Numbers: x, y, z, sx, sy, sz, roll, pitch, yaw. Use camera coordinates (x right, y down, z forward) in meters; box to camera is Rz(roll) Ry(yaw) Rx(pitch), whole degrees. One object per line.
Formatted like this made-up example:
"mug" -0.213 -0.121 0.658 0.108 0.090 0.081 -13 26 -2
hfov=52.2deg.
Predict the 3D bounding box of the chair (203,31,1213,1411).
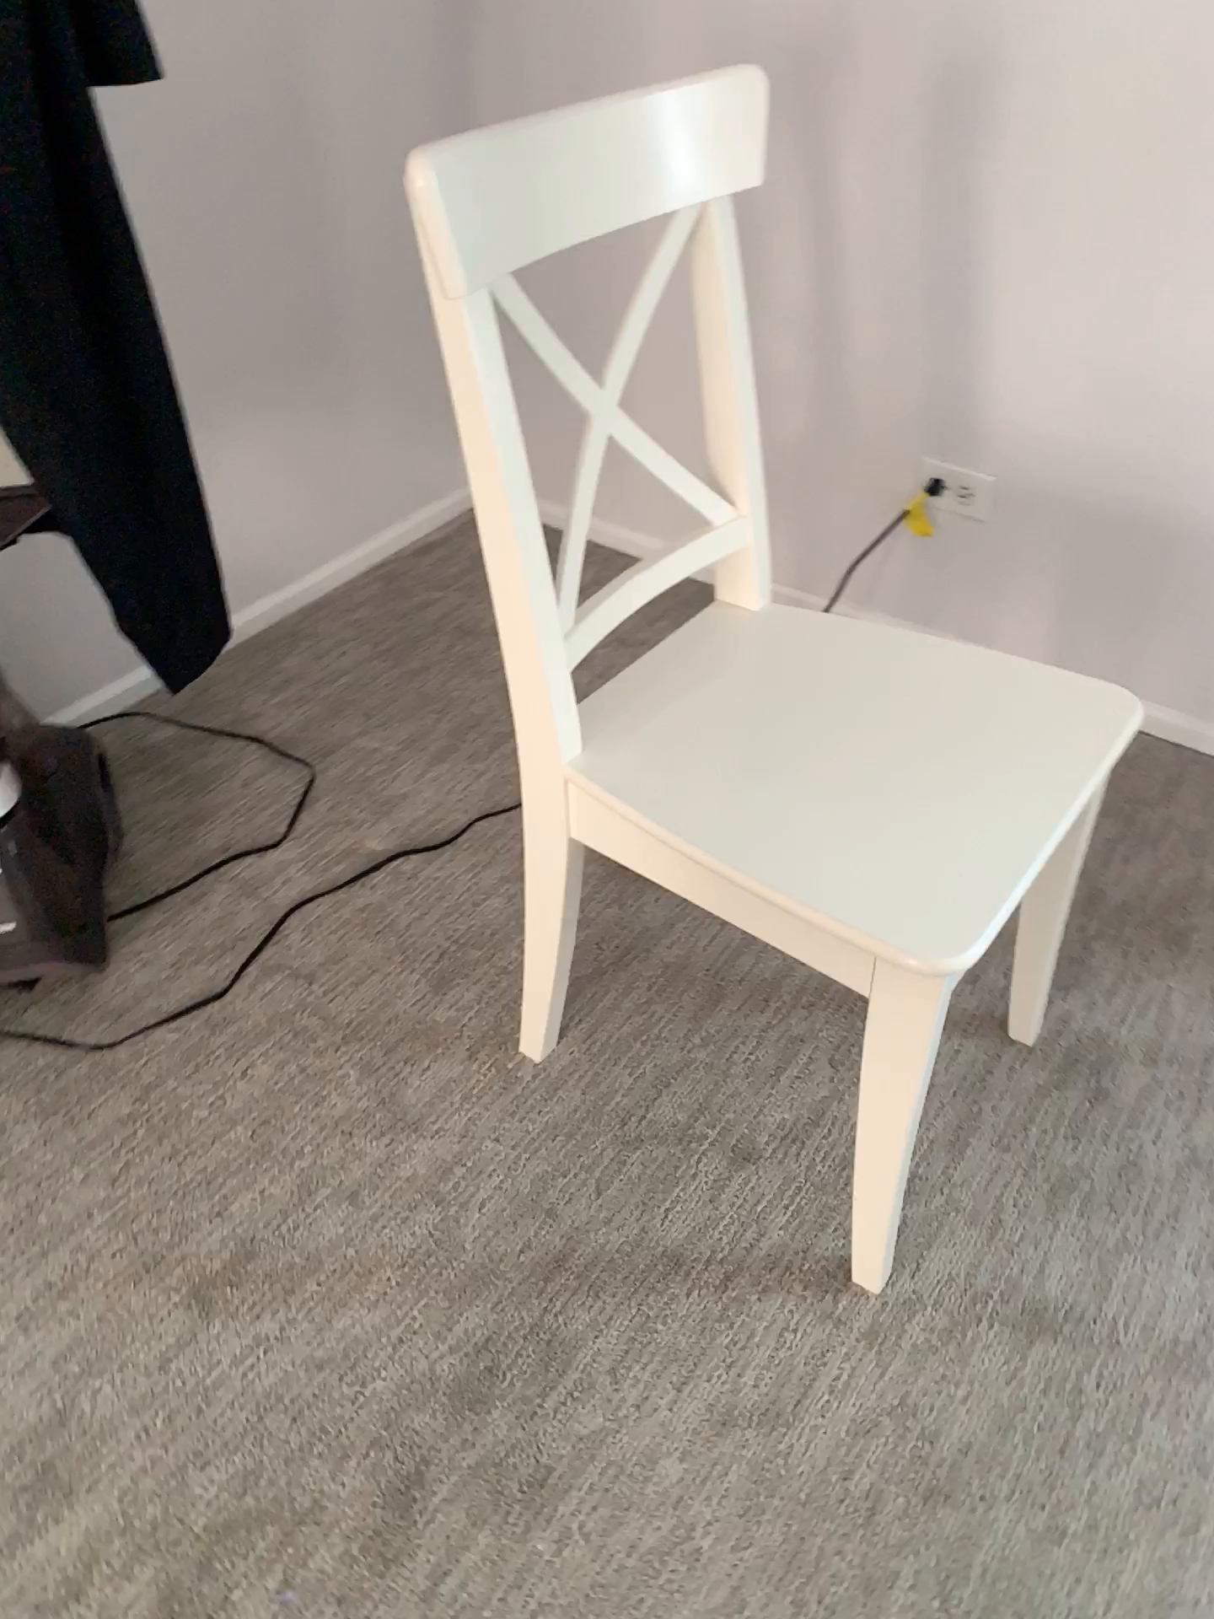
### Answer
"chair" 0.180 -0.115 0.997 0.571 0.765 0.612 25 45 26
